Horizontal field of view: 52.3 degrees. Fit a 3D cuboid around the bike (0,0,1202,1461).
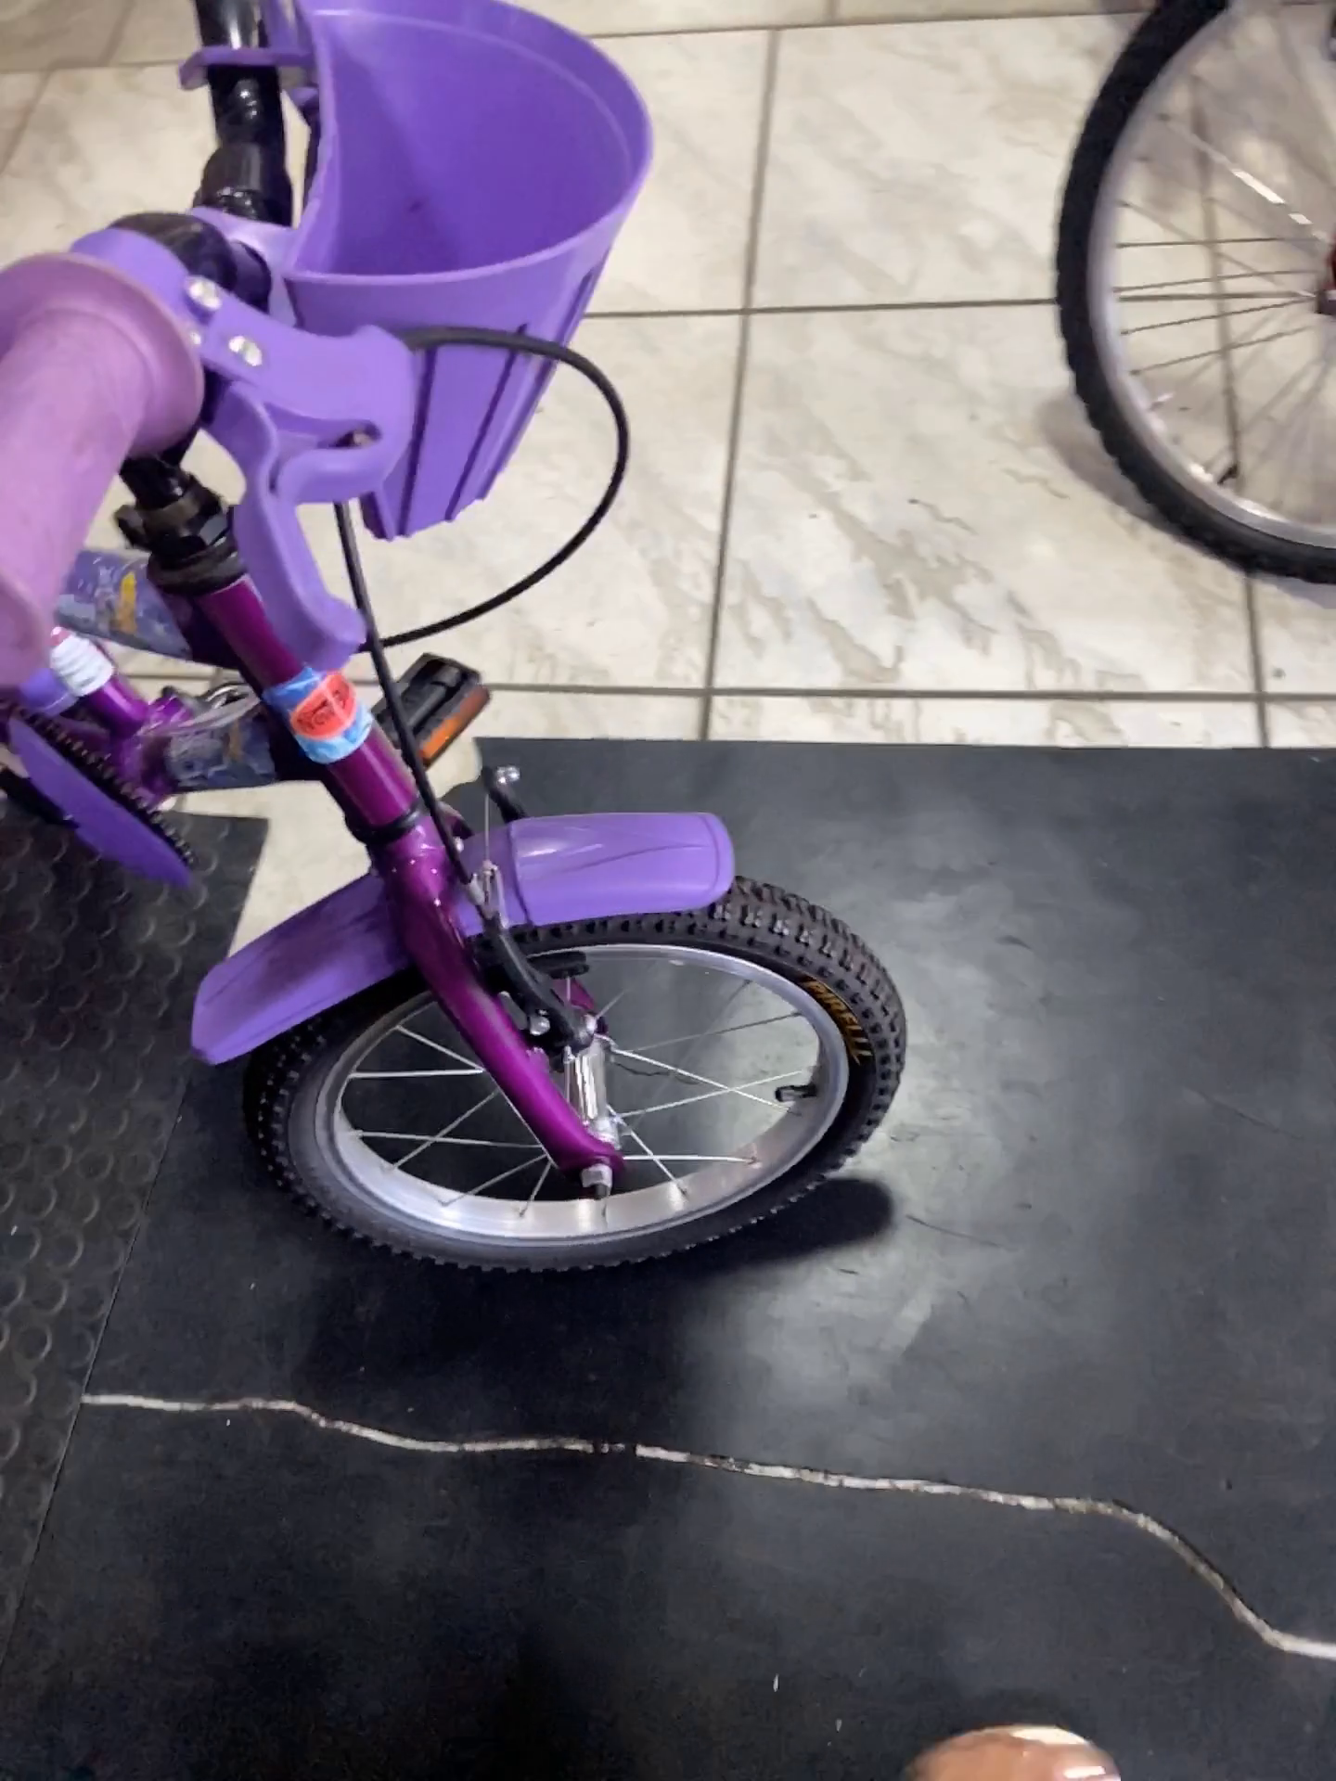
[{"bbox_3d":[-0.337,-0.181,0.766,0.971,0.744,0.448,24,69,19],"label":"bike"}]
